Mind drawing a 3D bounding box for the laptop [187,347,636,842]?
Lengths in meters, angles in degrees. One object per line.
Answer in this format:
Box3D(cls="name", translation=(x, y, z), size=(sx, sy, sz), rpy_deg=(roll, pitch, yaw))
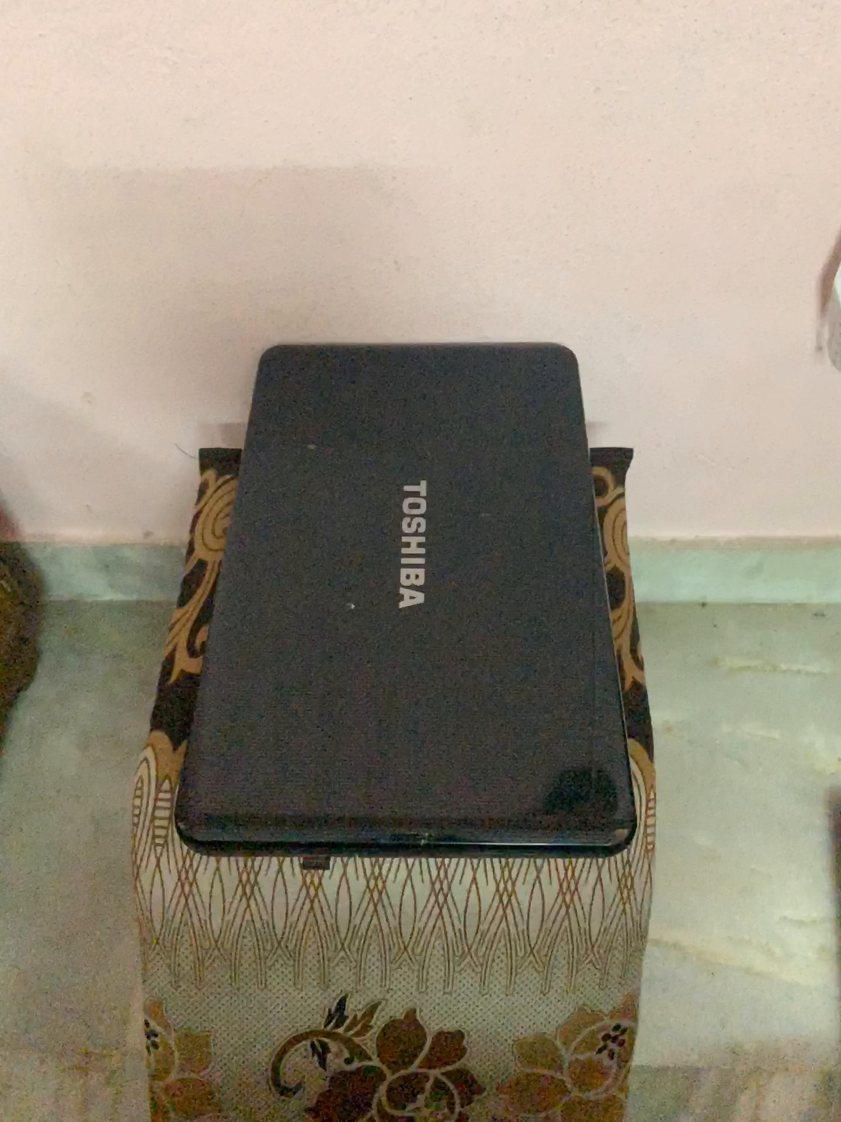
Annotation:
Box3D(cls="laptop", translation=(-0.005, -0.012, 0.537), size=(0.222, 0.001, 0.371), rpy_deg=(-1, 53, 2))
